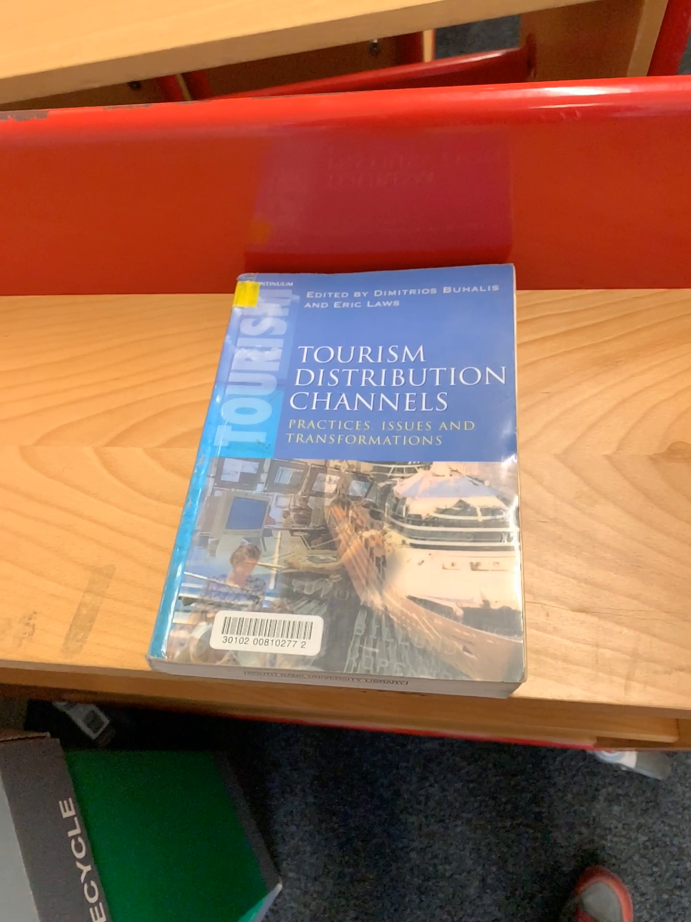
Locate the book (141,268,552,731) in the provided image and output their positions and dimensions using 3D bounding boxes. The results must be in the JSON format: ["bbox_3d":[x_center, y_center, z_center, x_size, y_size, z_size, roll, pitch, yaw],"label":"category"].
[{"bbox_3d":[0.011,0.000,0.359,0.167,0.031,0.239,2,59,9],"label":"book"}]
